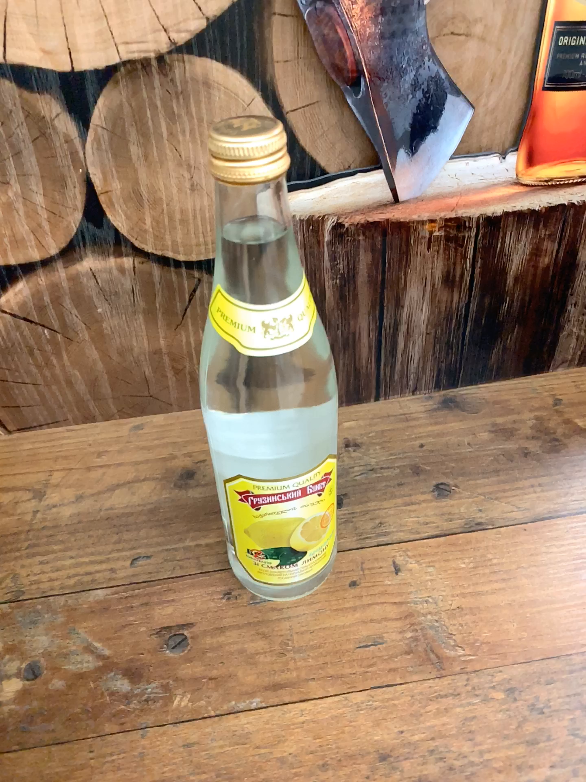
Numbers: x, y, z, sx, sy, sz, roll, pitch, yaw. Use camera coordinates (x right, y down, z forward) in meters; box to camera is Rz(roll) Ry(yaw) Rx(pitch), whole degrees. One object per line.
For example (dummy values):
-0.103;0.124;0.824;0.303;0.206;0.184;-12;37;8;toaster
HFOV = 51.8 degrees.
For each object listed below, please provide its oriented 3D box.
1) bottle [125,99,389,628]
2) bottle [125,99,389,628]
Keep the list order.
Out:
-0.009;0.006;0.256;0.070;0.219;0.070;-2;40;1;bottle
-0.009;0.006;0.256;0.070;0.219;0.070;-2;40;1;bottle
